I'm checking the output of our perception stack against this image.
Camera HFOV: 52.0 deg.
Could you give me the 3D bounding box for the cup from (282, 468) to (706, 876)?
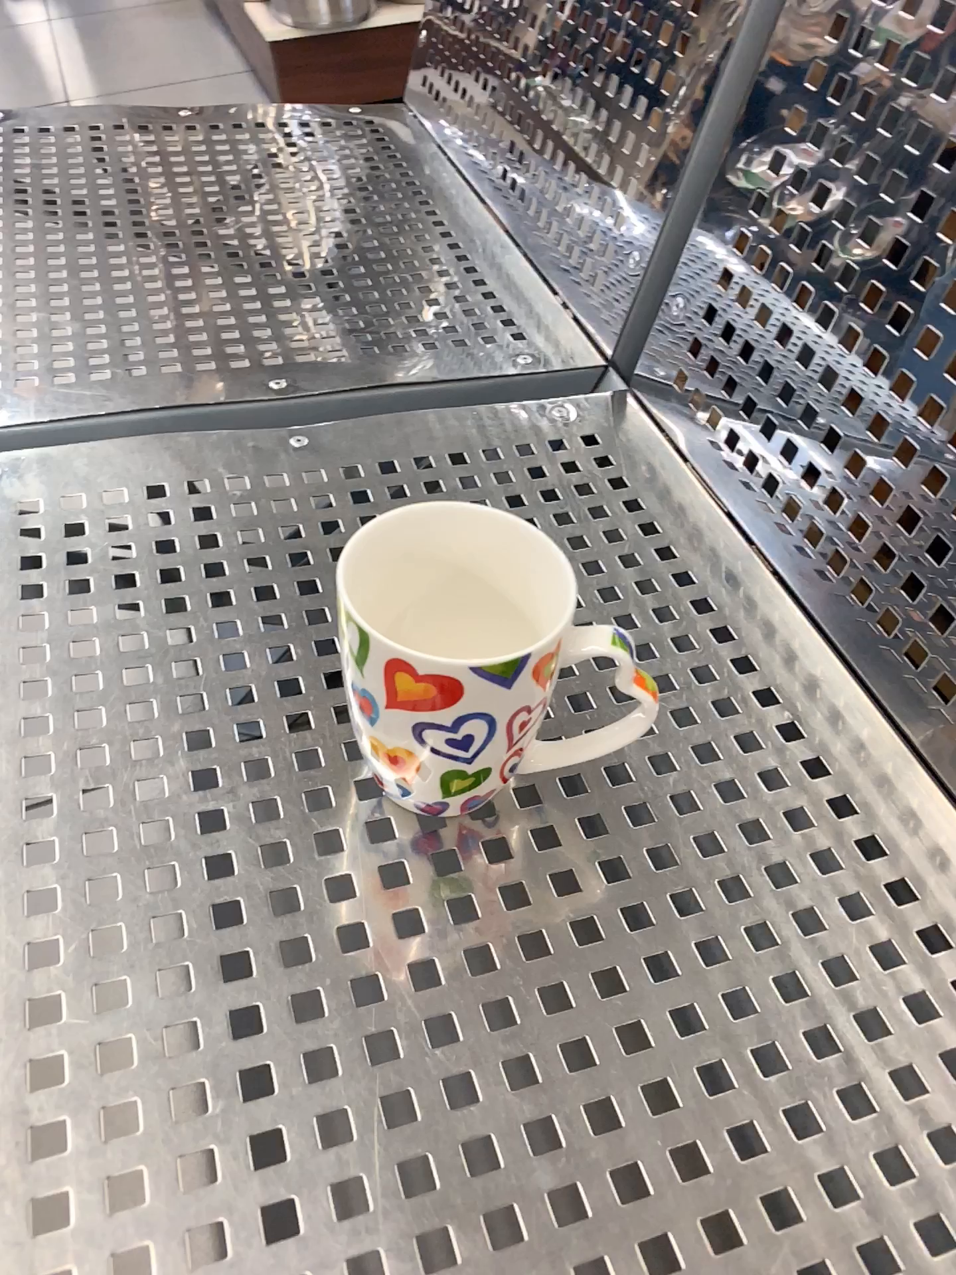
[{"bbox_3d":[0.005,0.014,0.338,0.120,0.100,0.070,12,47,5],"label":"cup"}]
